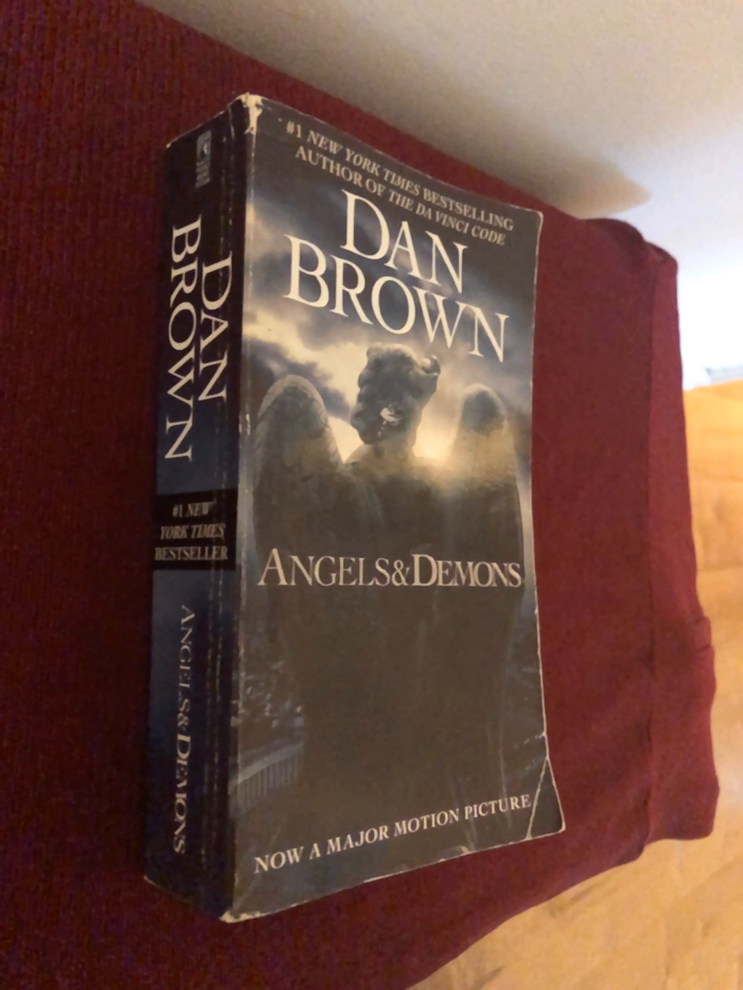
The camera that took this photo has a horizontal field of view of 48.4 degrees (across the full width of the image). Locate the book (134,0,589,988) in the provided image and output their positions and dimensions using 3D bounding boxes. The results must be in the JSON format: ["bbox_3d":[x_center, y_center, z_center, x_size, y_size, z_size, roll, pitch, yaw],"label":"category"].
[{"bbox_3d":[0.003,-0.002,0.227,0.121,0.040,0.210,4,82,-39],"label":"book"}]
